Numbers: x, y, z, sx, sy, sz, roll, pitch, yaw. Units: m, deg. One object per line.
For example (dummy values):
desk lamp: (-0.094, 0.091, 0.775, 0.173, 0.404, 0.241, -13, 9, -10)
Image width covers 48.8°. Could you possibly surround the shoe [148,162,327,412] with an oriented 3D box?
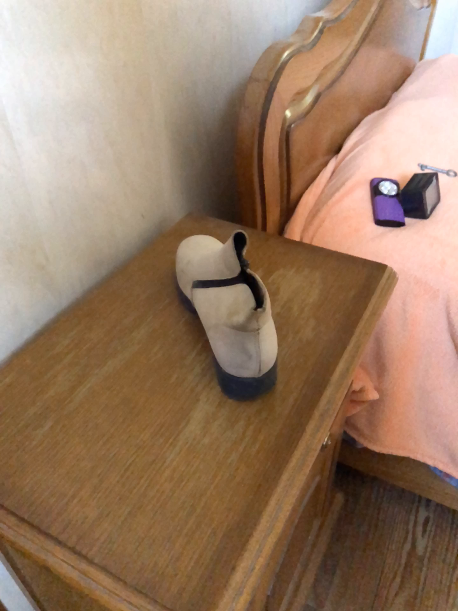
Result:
shoe: (-0.005, -0.039, 0.559, 0.100, 0.129, 0.271, -13, 39, -14)
